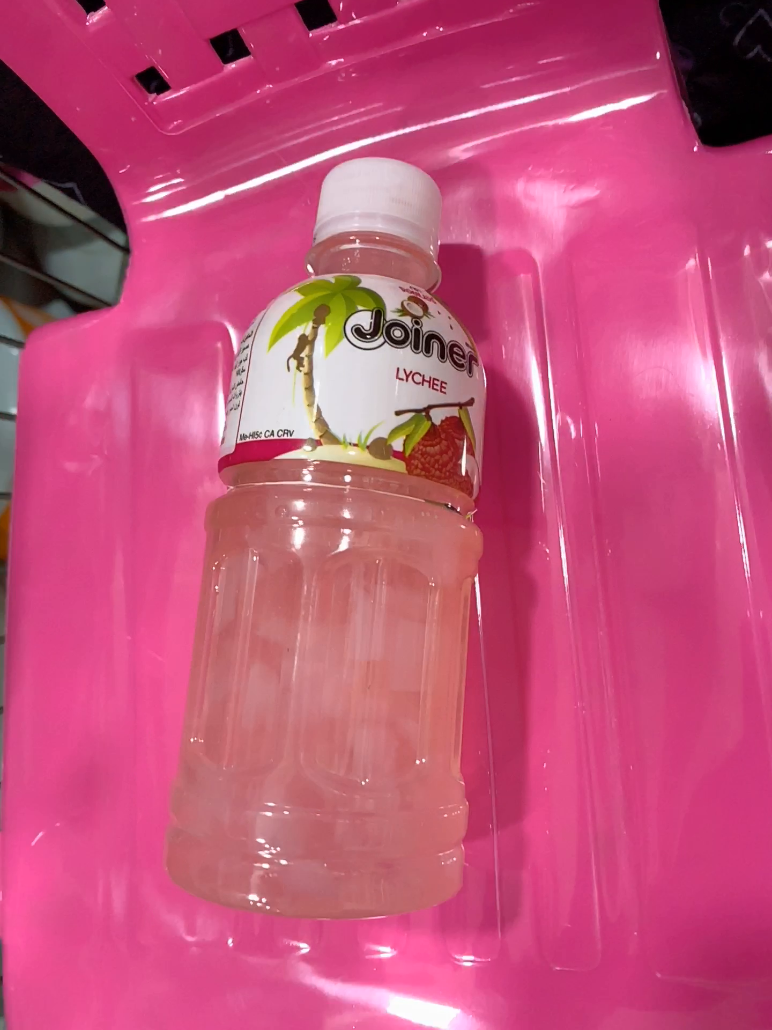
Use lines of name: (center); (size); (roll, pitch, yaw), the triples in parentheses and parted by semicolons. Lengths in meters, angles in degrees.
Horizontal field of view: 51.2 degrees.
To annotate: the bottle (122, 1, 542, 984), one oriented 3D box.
bottle: (-0.010, -0.005, 0.179); (0.060, 0.060, 0.170); (-8, 76, 52)
